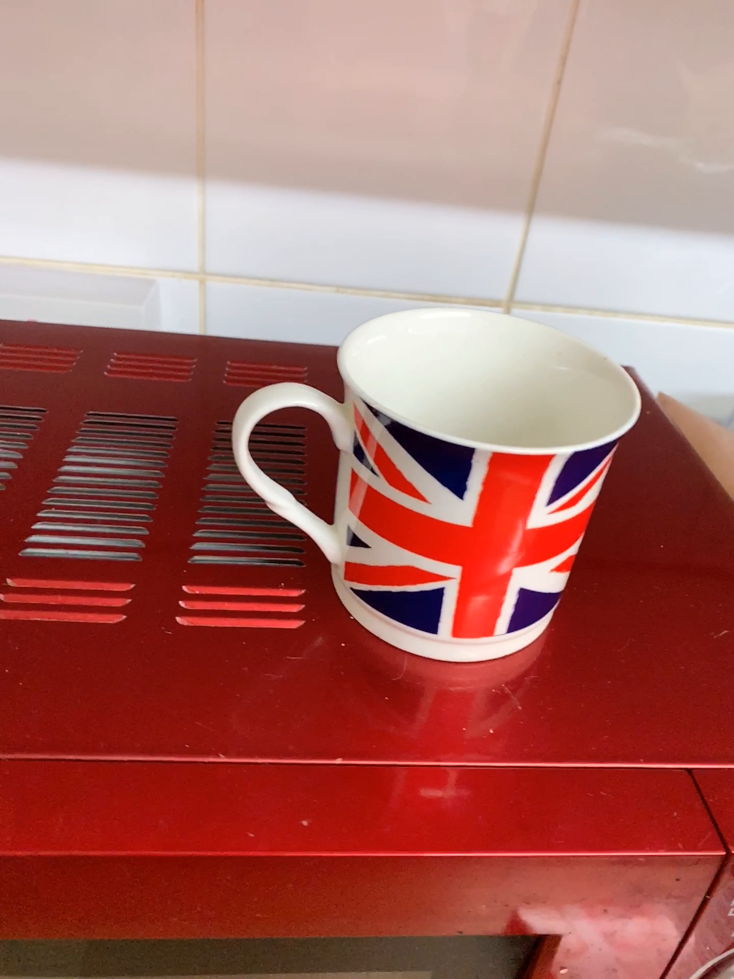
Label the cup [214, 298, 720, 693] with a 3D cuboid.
[{"bbox_3d":[0.016,-0.002,0.229,0.120,0.079,0.081,-1,35,-13],"label":"cup"}]
